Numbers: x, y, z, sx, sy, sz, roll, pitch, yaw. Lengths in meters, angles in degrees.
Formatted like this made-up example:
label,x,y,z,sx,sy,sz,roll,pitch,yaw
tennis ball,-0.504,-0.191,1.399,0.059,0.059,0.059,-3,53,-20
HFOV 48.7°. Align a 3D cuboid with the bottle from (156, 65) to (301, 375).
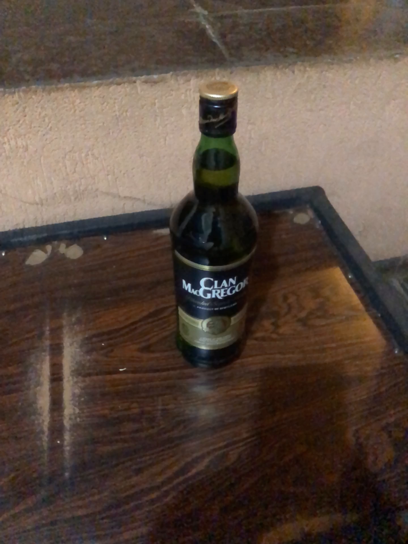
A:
label,x,y,z,sx,sy,sz,roll,pitch,yaw
bottle,0.013,-0.020,0.426,0.090,0.308,0.081,-4,48,-4
